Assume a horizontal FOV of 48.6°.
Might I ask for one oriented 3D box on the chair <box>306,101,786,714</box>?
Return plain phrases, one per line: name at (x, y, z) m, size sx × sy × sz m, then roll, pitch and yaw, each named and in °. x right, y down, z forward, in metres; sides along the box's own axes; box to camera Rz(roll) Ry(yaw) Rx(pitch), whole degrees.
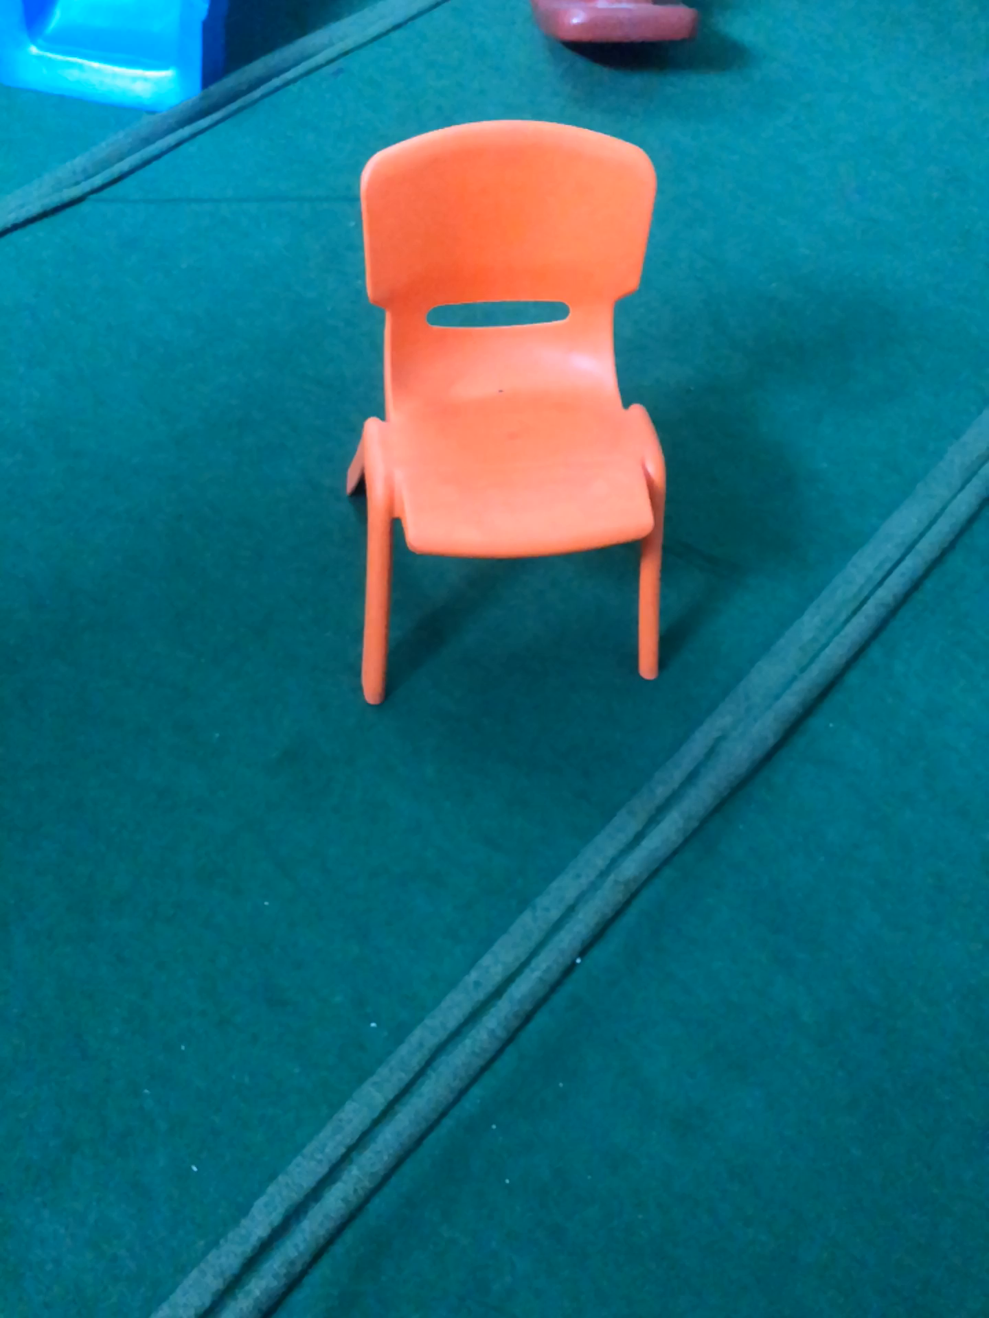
chair at (0.008, -0.246, 1.155) m, size 0.360 × 0.479 × 0.391 m, roll -4°, pitch 58°, yaw -9°
